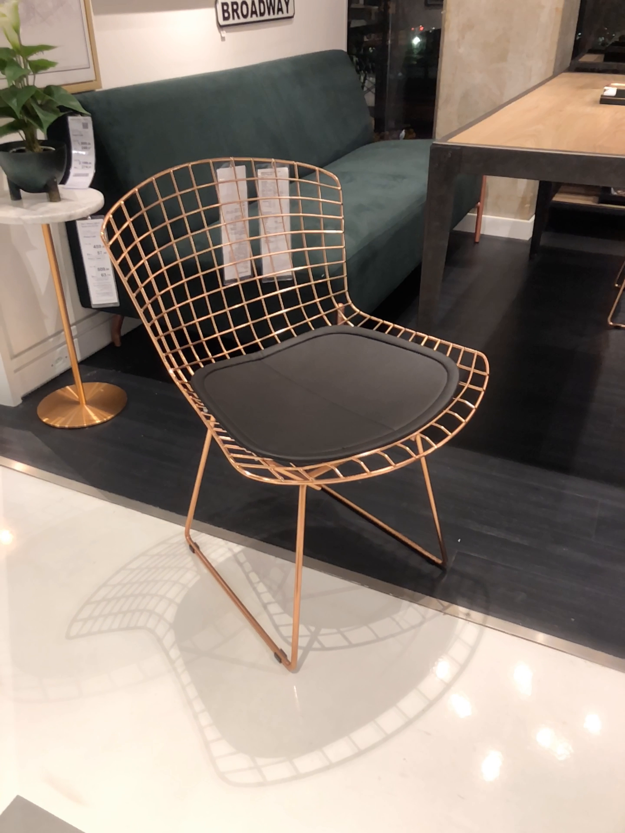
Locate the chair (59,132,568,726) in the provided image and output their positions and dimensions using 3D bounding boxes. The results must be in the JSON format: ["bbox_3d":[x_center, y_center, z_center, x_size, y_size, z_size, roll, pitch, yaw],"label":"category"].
[{"bbox_3d":[-0.007,-0.033,1.198,0.522,0.744,0.542,-25,39,-34],"label":"chair"}]
